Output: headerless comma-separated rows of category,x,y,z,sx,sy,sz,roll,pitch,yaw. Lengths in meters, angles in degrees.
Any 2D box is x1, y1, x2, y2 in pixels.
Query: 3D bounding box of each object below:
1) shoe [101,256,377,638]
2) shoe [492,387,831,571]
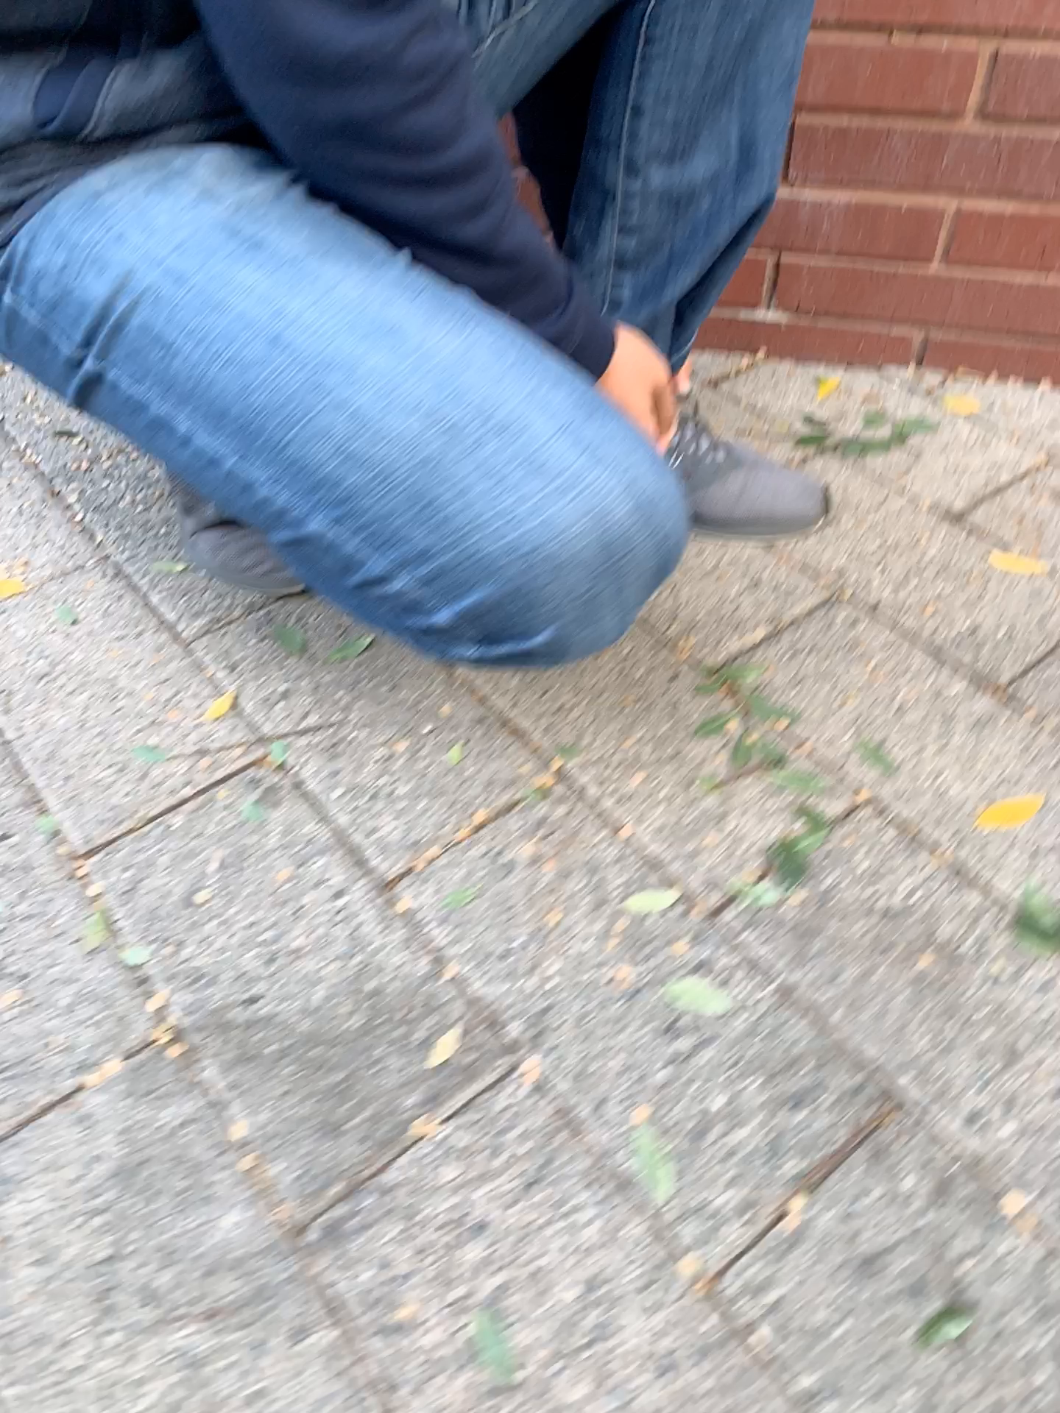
shoe,-0.243,-0.209,0.903,0.116,0.274,0.098,-24,7,-18
shoe,0.117,-0.207,0.972,0.280,0.083,0.111,10,46,12
